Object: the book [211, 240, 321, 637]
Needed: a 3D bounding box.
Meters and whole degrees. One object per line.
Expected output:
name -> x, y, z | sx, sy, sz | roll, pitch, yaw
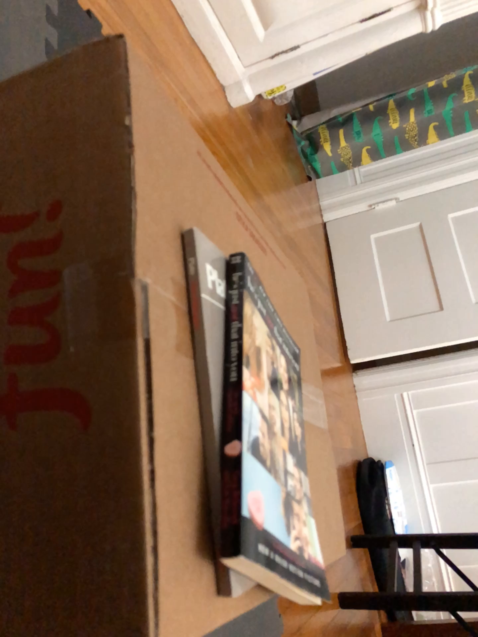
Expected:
book -> 0.022, 0.081, 0.355 | 0.150, 0.010, 0.231 | 55, 28, -48
